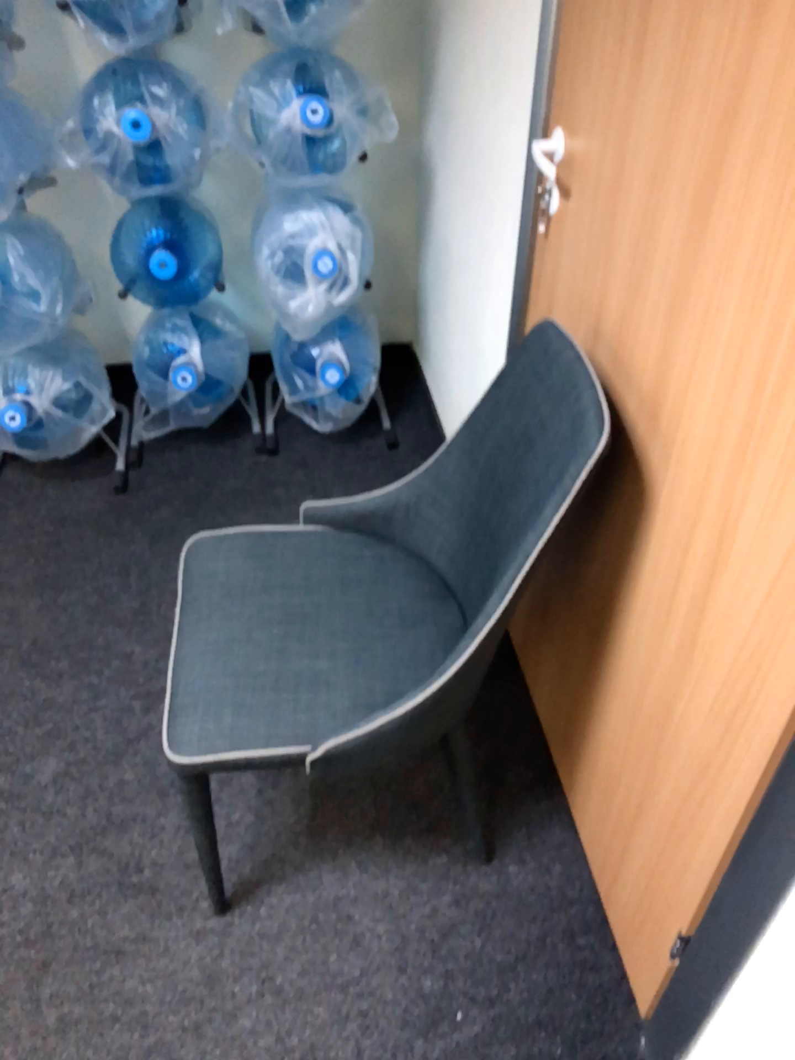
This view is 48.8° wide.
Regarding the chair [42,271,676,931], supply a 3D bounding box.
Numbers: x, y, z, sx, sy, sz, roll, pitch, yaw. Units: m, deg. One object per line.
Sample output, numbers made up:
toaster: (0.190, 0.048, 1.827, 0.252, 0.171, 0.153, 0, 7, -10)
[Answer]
chair: (-0.061, 0.129, 1.355, 0.640, 0.844, 0.523, -4, 41, -5)
